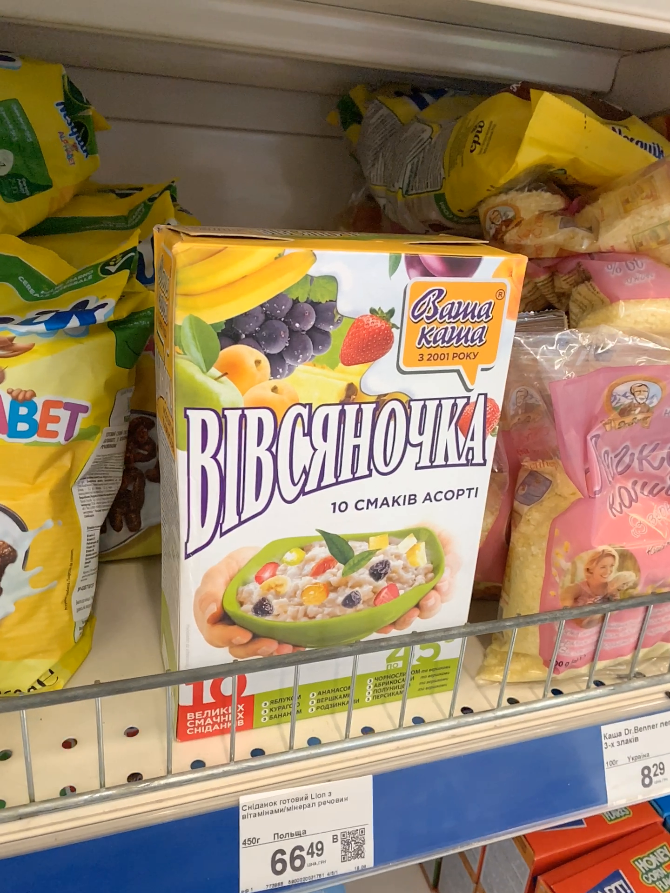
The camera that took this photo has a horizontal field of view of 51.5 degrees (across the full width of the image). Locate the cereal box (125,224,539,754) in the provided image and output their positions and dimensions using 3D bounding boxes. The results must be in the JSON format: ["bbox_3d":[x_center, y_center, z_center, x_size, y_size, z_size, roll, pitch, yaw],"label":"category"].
[{"bbox_3d":[-0.010,0.015,0.312,0.150,0.208,0.070,-3,22,-18],"label":"cereal box"}]
